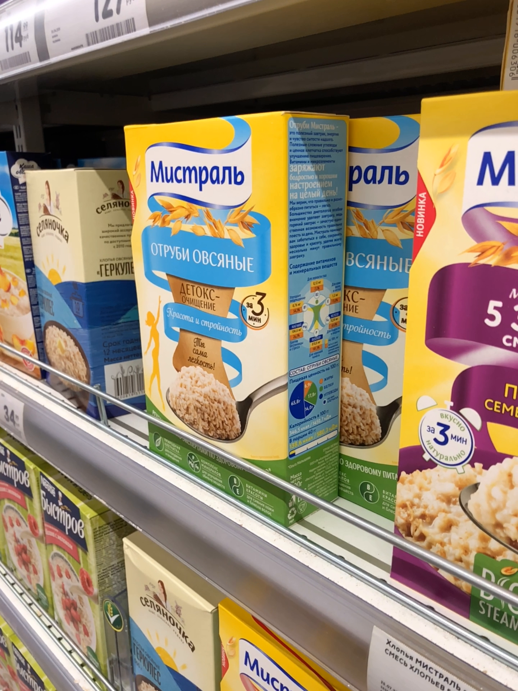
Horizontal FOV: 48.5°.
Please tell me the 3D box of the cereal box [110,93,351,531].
[{"bbox_3d":[-0.020,-0.024,0.334,0.050,0.209,0.140,-15,21,-40],"label":"cereal box"}]
